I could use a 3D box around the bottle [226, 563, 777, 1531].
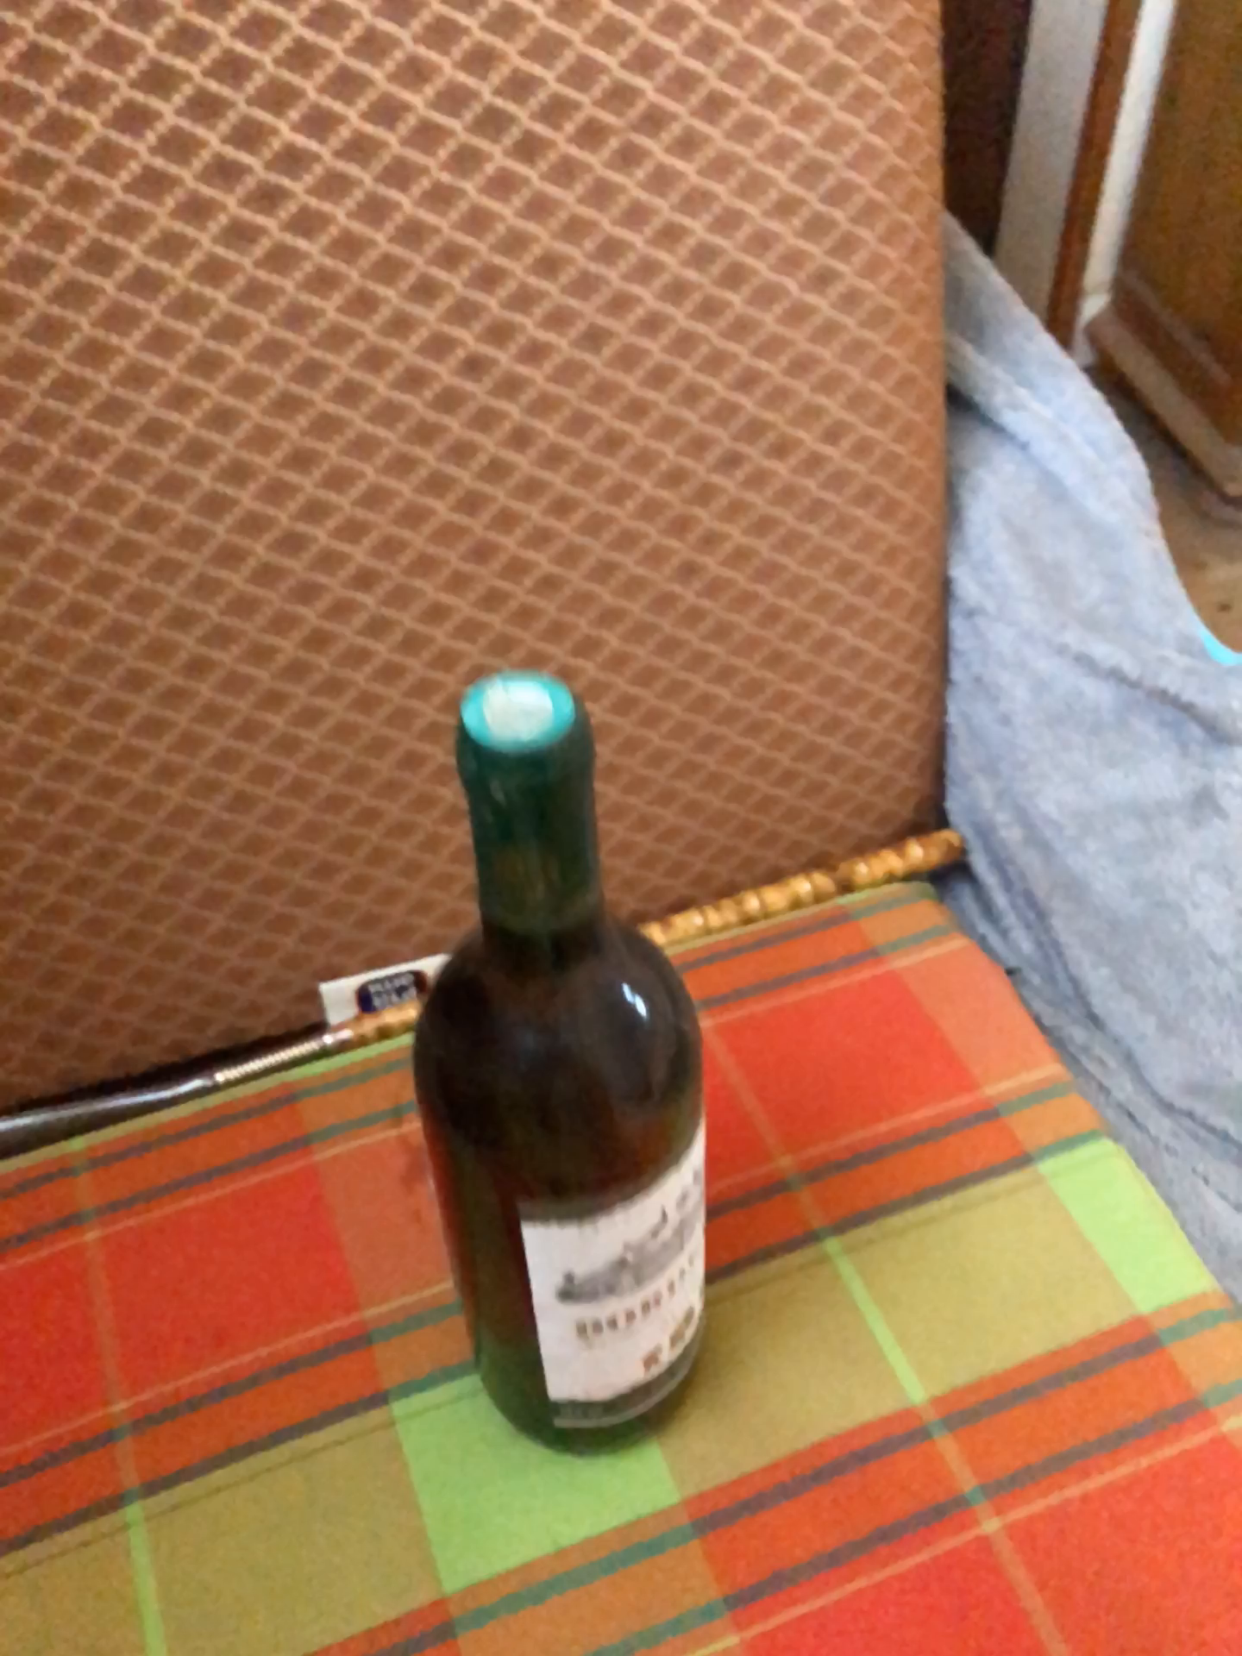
[{"bbox_3d":[-0.018,0.075,0.372,0.080,0.268,0.080,-2,42,2],"label":"bottle"}]
